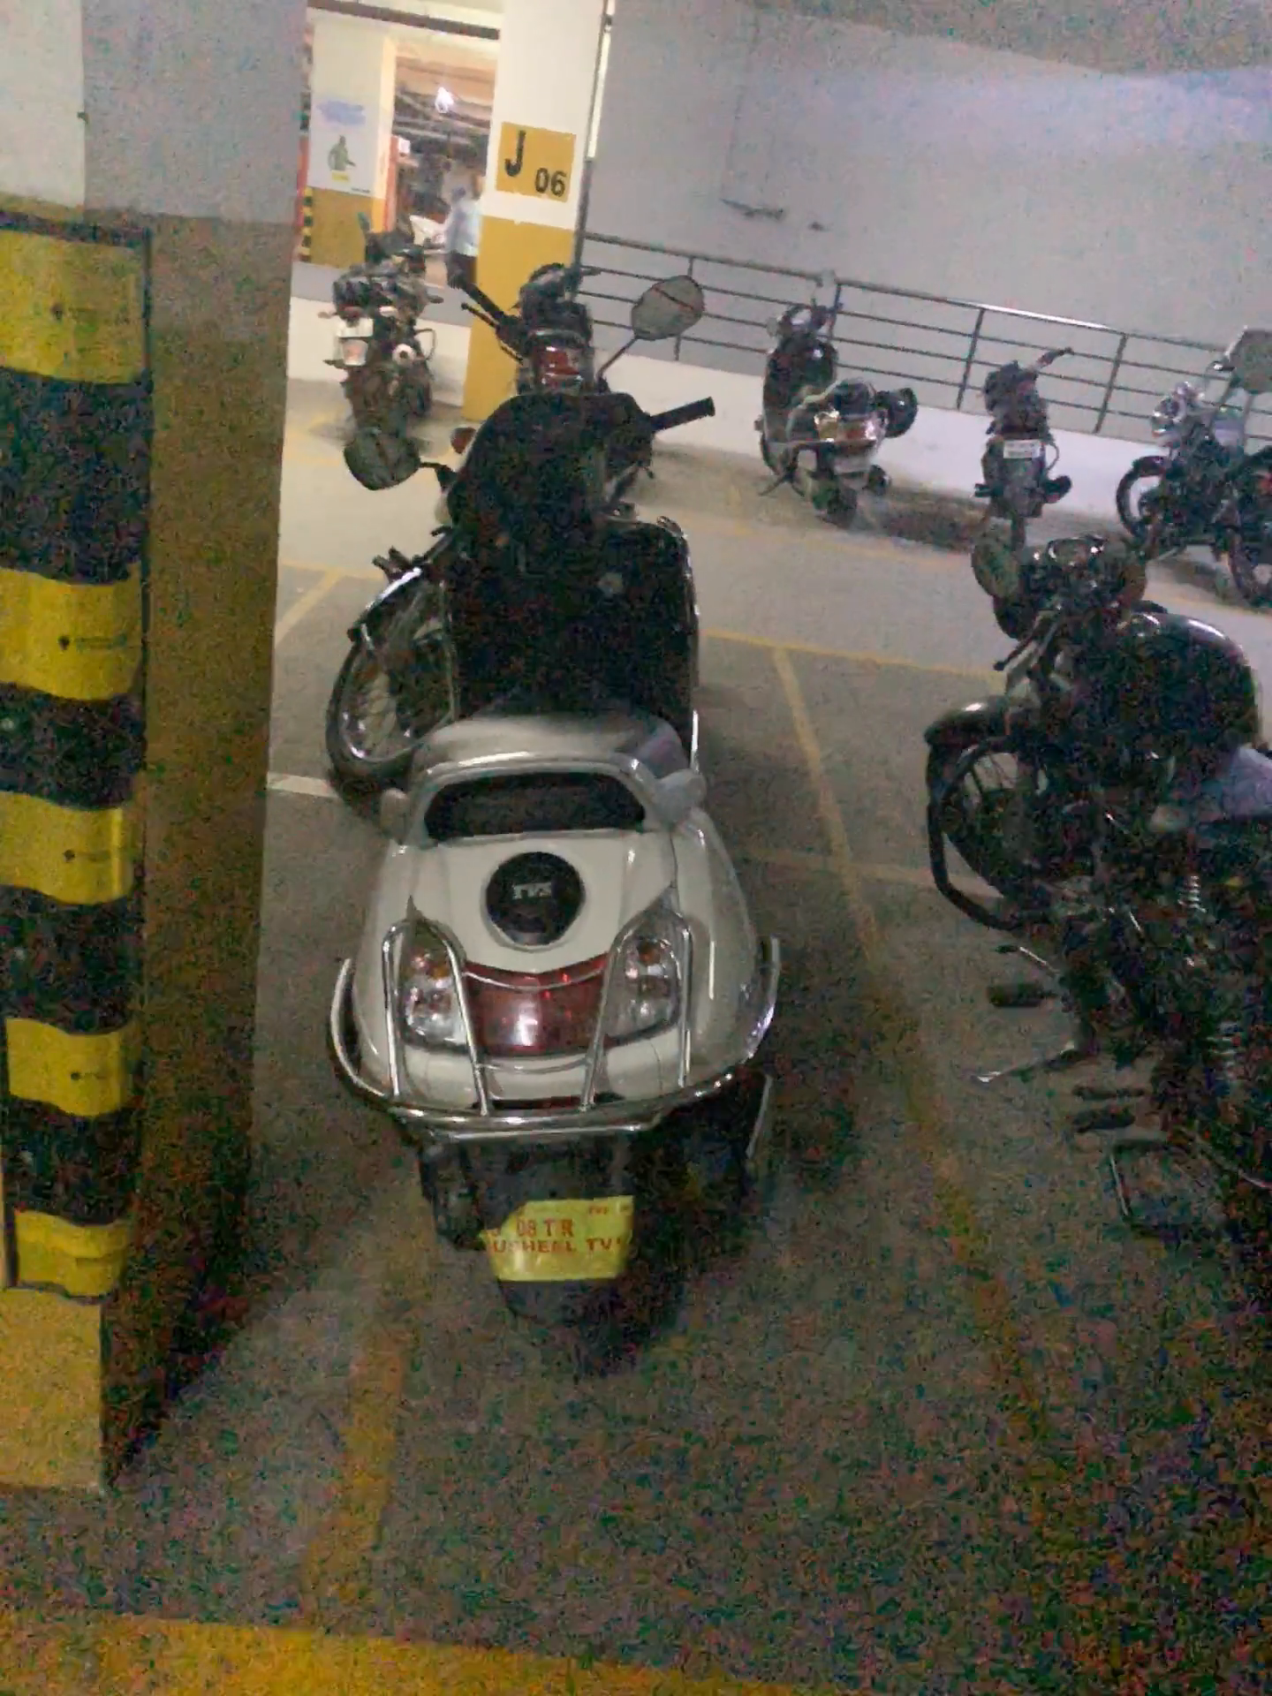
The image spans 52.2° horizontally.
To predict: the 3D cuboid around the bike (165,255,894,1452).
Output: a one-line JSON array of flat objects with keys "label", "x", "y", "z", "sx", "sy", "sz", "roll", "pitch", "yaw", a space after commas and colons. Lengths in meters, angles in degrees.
[{"label": "bike", "x": -0.195, "y": -0.179, "z": 2.075, "sx": 0.647, "sy": 1.159, "sz": 1.539, "roll": 8, "pitch": 28, "yaw": -6}]
